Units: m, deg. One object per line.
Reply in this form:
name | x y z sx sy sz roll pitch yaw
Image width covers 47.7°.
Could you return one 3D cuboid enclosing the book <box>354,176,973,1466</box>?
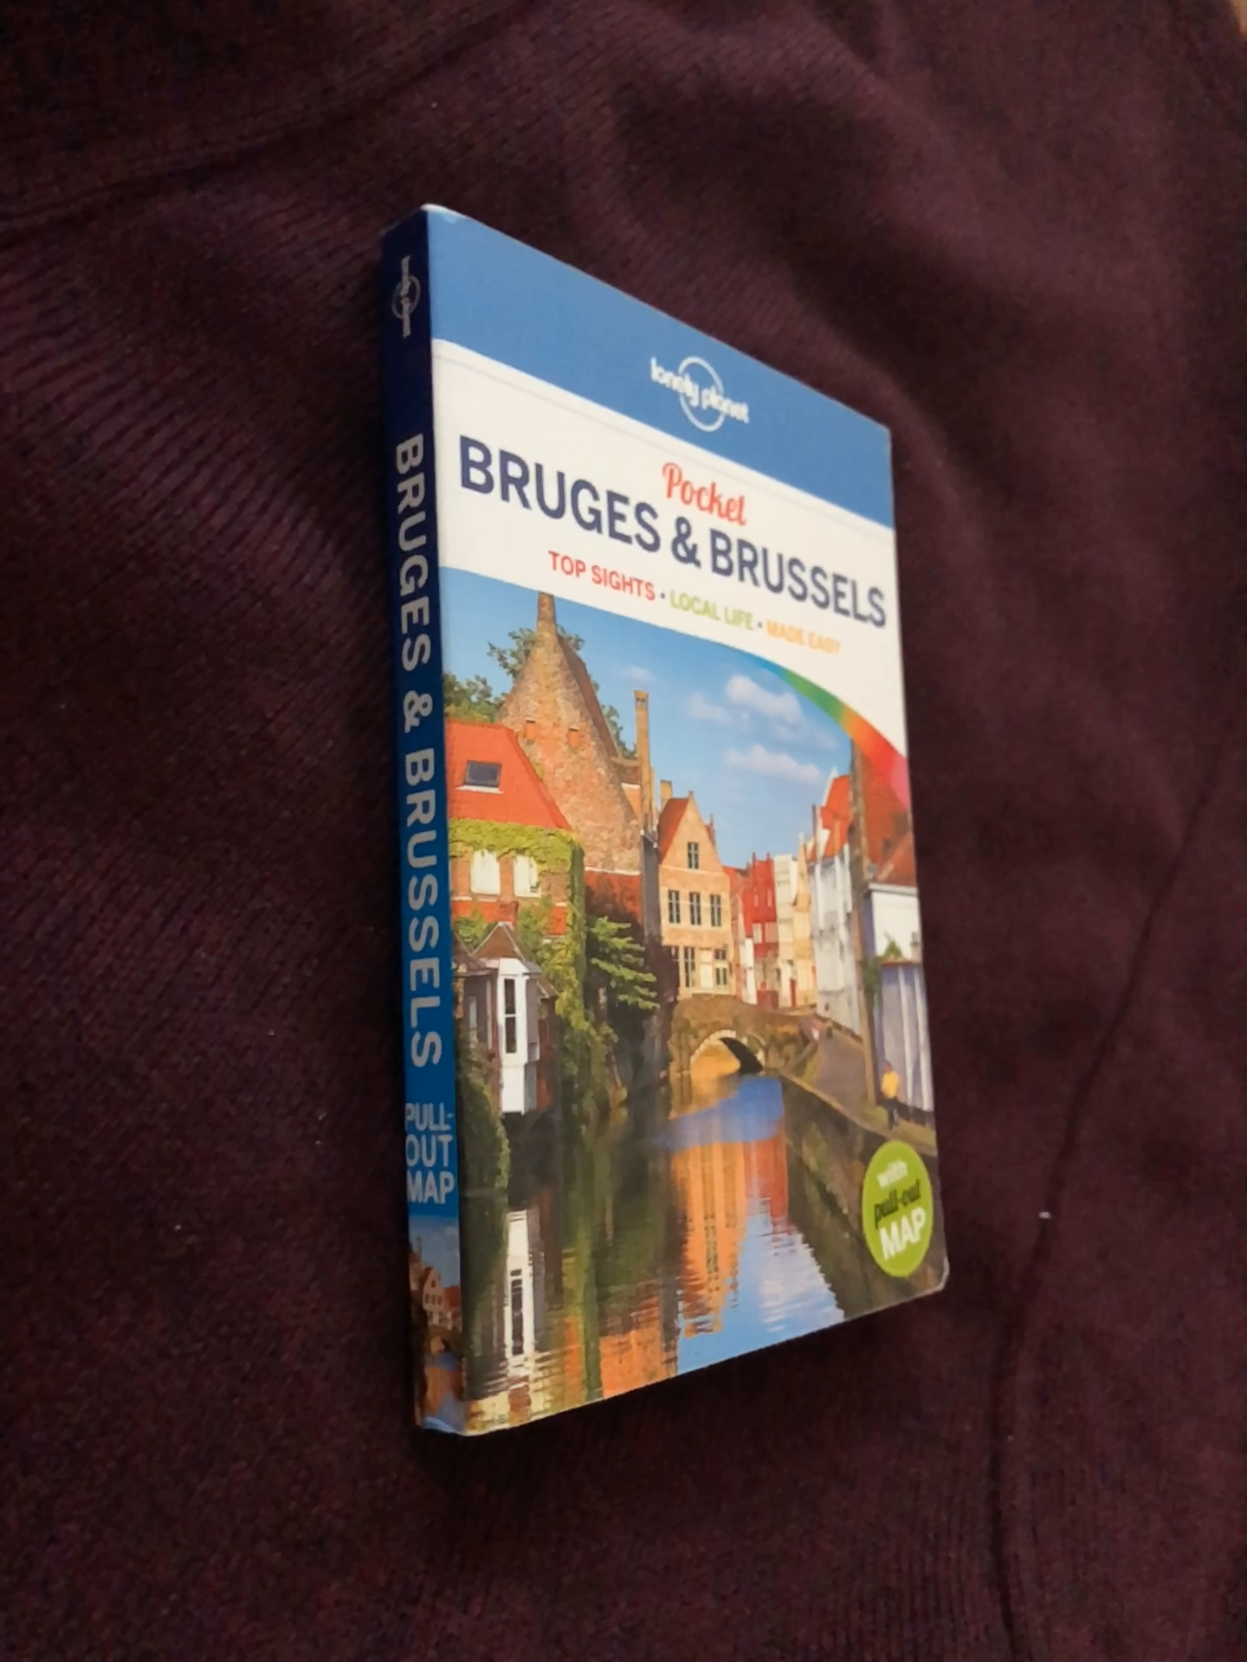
book | 0.011 -0.002 0.215 0.111 0.016 0.158 5 78 -46
